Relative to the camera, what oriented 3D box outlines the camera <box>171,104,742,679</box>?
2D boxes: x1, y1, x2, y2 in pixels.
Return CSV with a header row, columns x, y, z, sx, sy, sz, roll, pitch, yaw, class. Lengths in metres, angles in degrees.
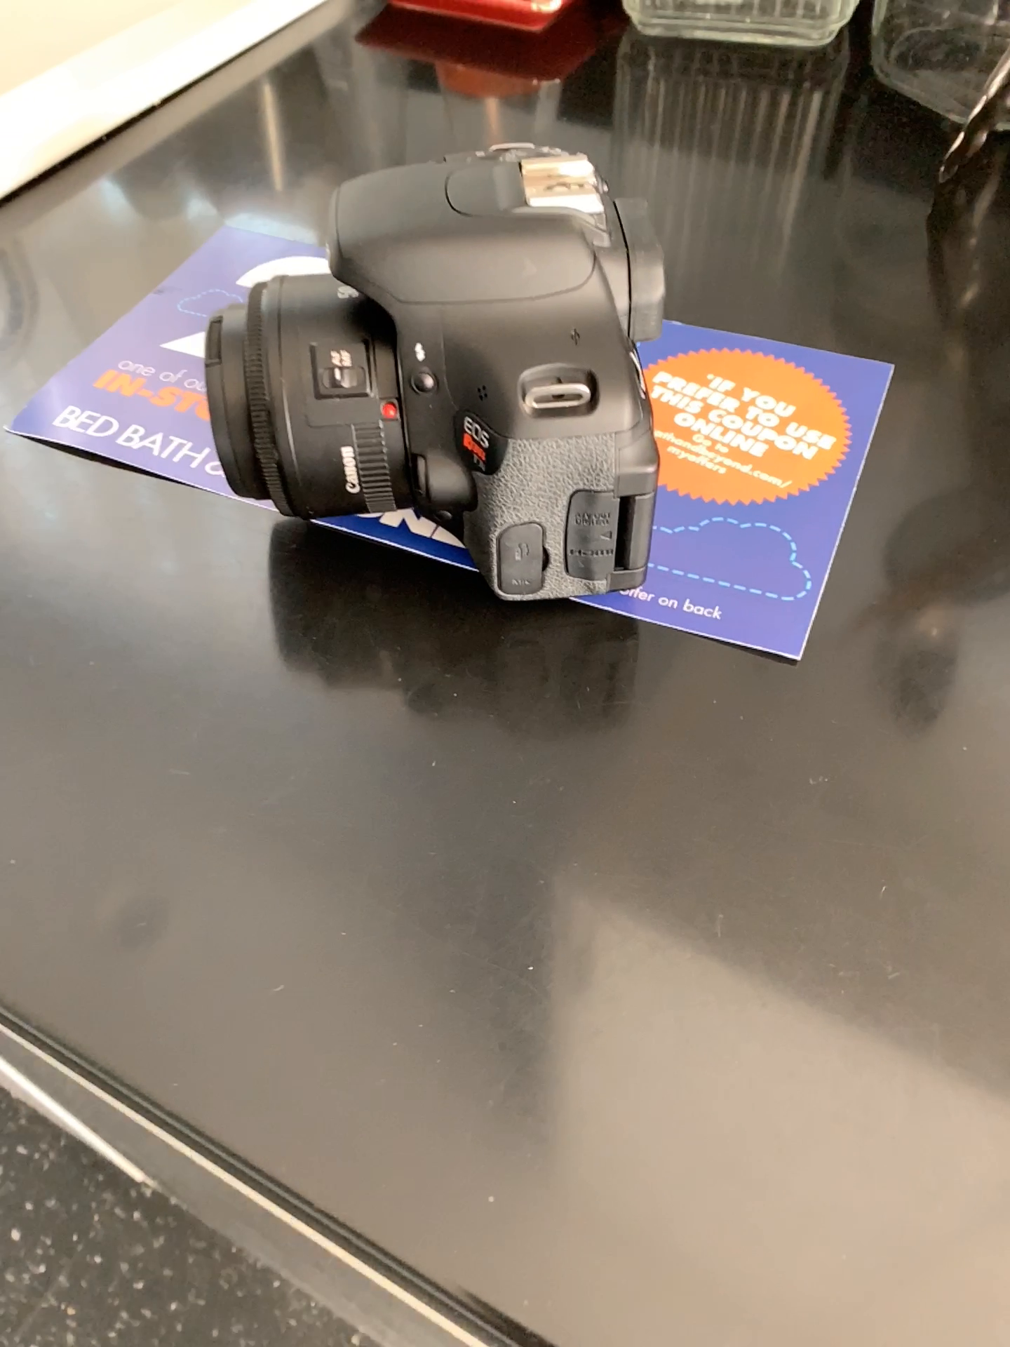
x,y,z,sx,sy,sz,roll,pitch,yaw,class
-0.015,-0.085,0.302,0.124,0.085,0.141,-5,52,-2,camera
